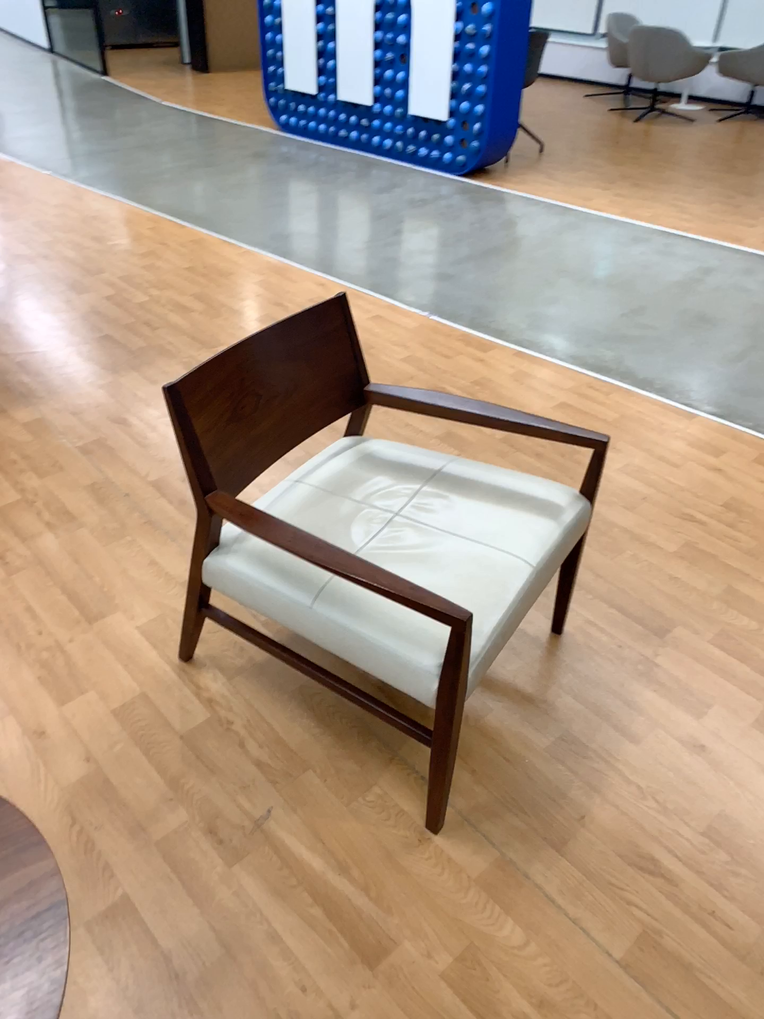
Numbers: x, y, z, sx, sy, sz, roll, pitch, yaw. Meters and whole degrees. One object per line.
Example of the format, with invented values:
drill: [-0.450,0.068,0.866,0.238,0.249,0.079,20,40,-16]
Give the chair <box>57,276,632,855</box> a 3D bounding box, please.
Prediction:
chair: [-0.038,0.035,1.490,0.712,0.635,0.674,21,40,24]
